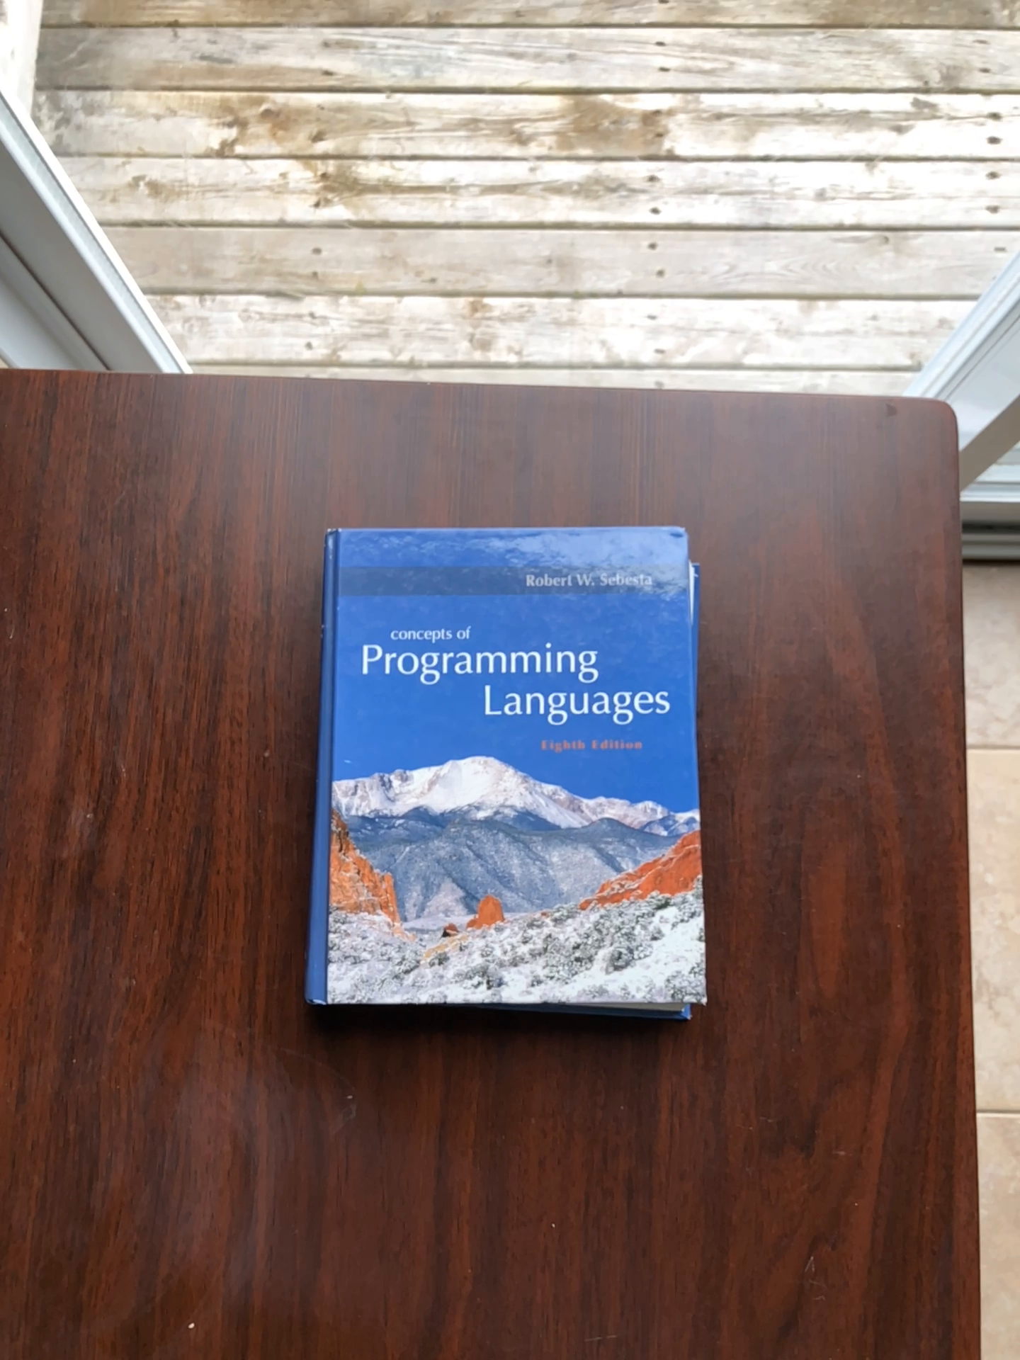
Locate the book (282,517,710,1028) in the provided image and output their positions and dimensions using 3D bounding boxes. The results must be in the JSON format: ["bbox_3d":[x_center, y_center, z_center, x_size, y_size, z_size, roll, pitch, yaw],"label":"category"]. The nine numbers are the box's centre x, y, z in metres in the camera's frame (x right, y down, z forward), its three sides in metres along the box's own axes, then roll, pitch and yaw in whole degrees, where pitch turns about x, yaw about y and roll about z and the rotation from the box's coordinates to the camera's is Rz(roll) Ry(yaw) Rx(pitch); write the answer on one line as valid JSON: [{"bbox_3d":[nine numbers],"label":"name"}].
[{"bbox_3d":[-0.003,0.043,0.558,0.195,0.049,0.236,2,80,1],"label":"book"}]
